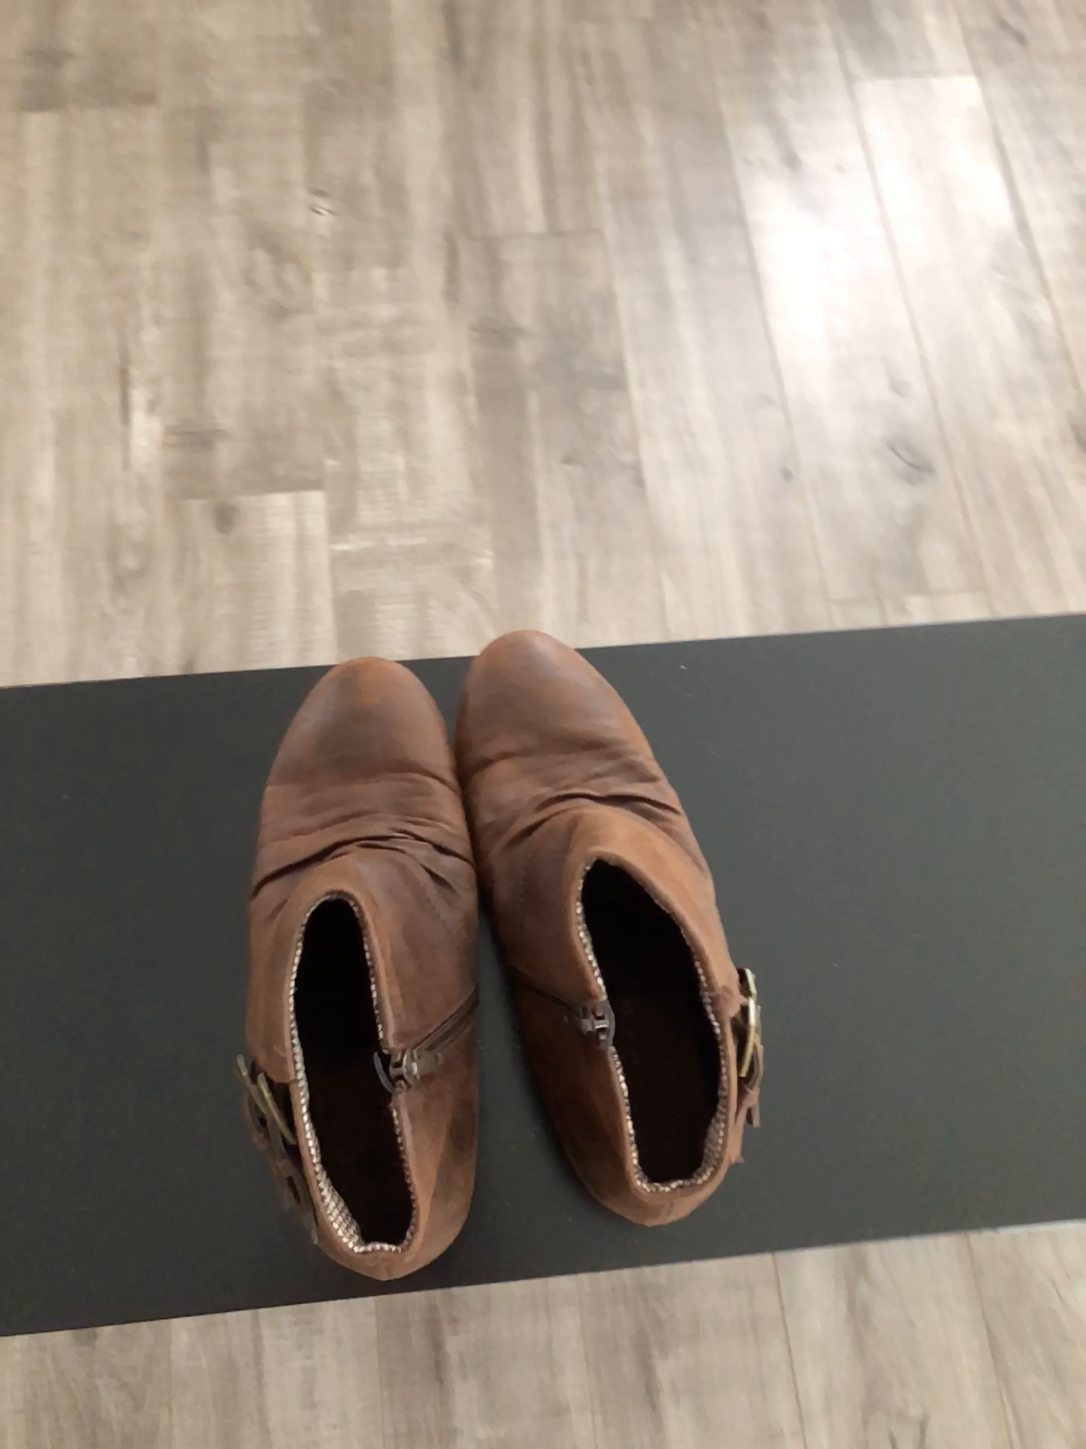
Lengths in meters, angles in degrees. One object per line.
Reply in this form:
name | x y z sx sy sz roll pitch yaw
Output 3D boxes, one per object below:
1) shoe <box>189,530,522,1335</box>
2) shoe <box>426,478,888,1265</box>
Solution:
shoe | -0.064 0.068 0.417 0.090 0.110 0.240 -4 70 -4
shoe | 0.026 0.054 0.438 0.090 0.130 0.240 -11 71 -7
